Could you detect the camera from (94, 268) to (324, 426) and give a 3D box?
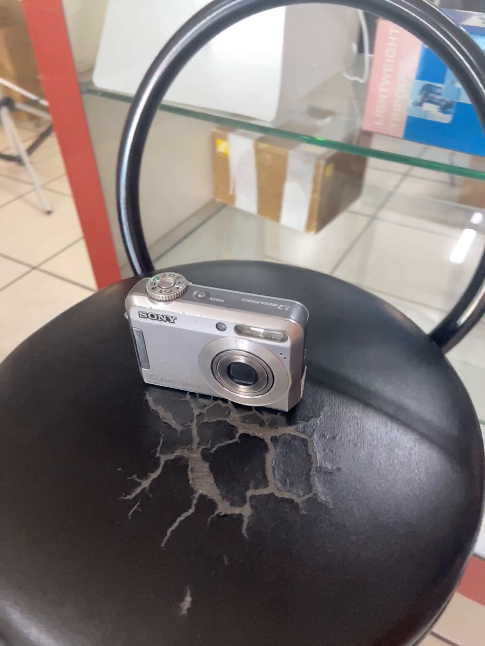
[{"bbox_3d":[-0.014,0.011,0.252,0.100,0.050,0.040,9,41,12],"label":"camera"}]
